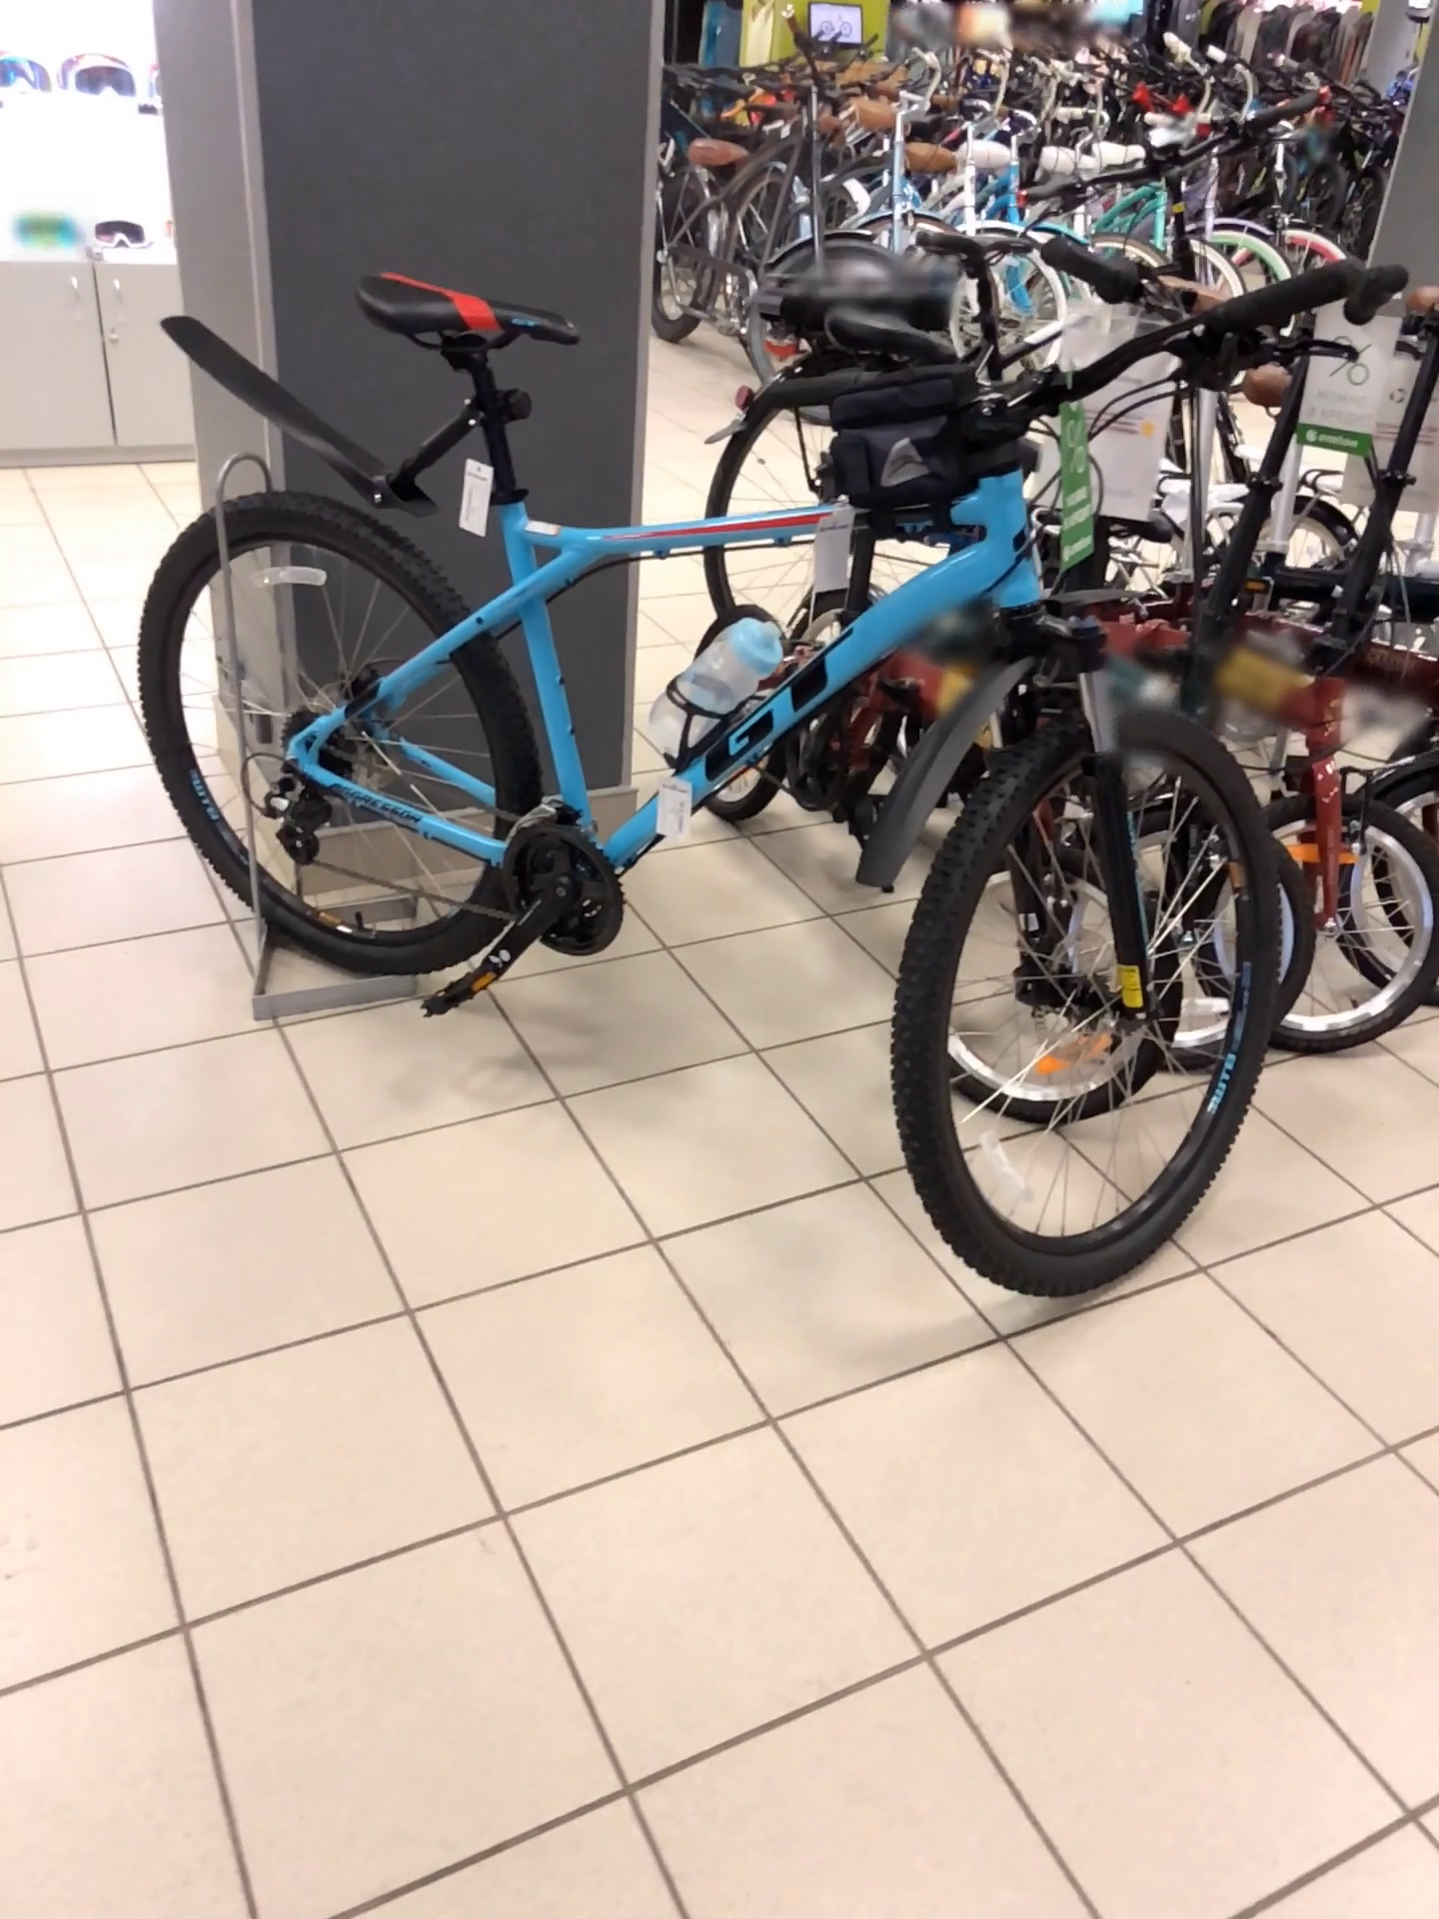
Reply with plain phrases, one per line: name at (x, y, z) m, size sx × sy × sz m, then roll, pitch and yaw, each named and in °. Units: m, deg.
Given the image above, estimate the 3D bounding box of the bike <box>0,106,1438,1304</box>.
bike at (-0.063, -0.386, 2.045) m, size 1.610 × 1.084 × 0.695 m, roll 13°, pitch 31°, yaw 11°
